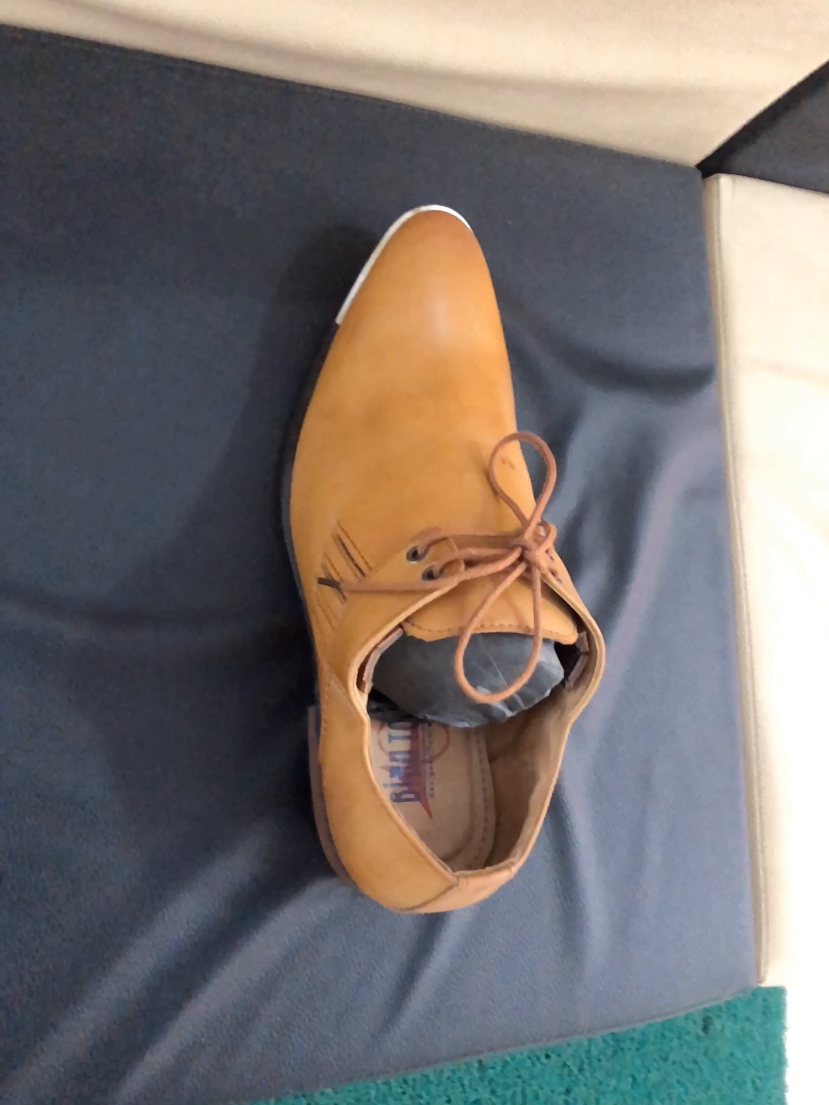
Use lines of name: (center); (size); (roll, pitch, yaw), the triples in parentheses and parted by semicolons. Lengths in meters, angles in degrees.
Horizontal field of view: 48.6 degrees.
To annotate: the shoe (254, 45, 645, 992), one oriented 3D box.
shoe: (0.012, -0.011, 0.351); (0.110, 0.100, 0.300); (5, 81, -20)
